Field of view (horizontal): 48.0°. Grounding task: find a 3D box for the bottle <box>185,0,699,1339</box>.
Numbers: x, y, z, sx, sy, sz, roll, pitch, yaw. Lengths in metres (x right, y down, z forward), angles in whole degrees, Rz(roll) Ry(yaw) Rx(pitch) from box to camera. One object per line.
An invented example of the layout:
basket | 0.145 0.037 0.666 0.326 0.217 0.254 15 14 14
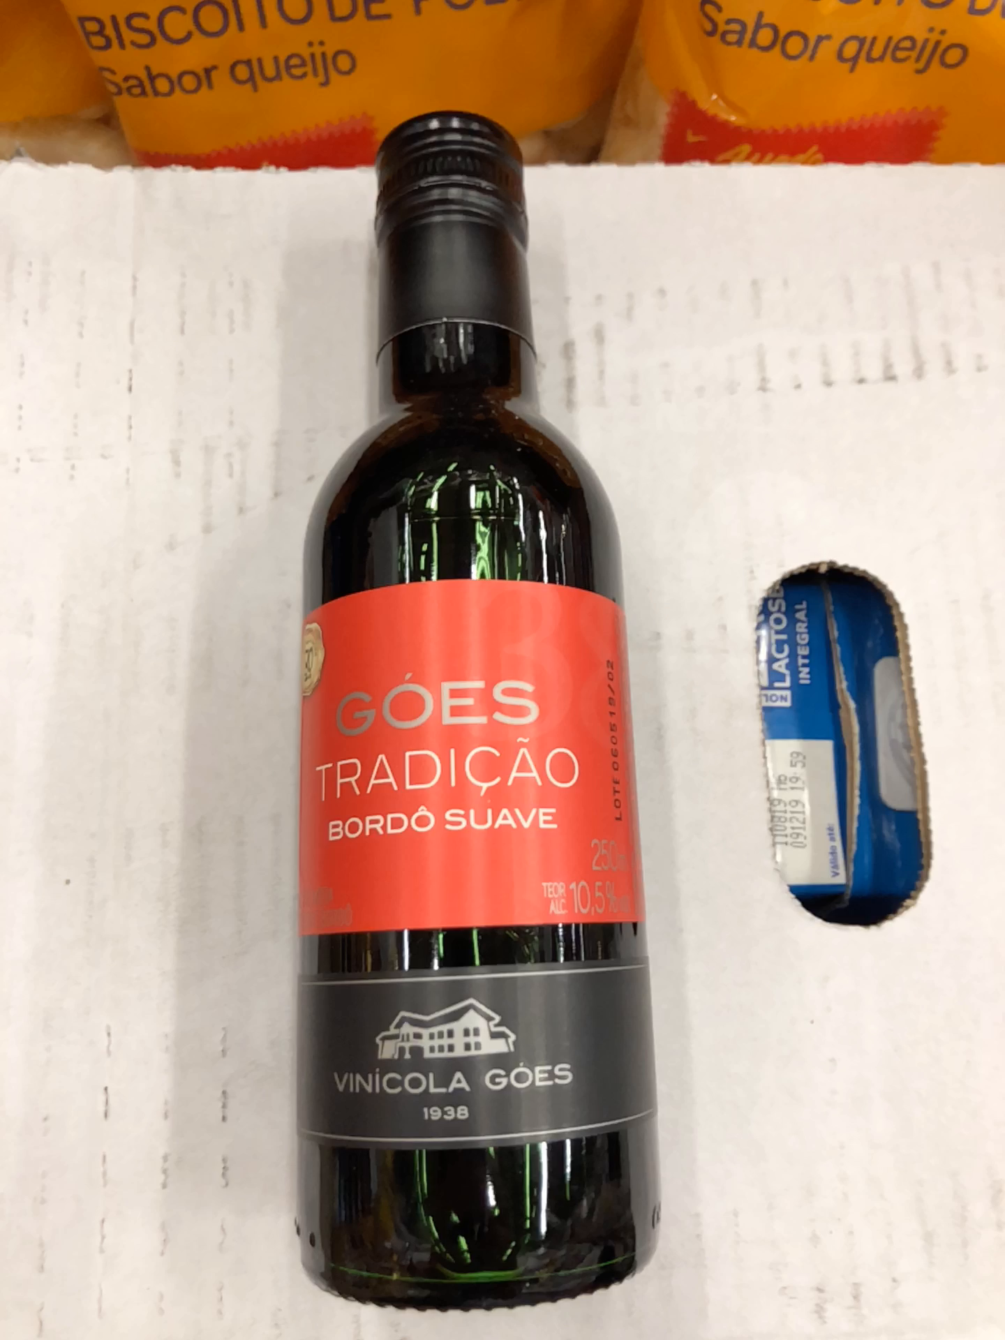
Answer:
bottle | -0.014 -0.015 0.182 0.060 0.050 0.210 -4 76 -2
